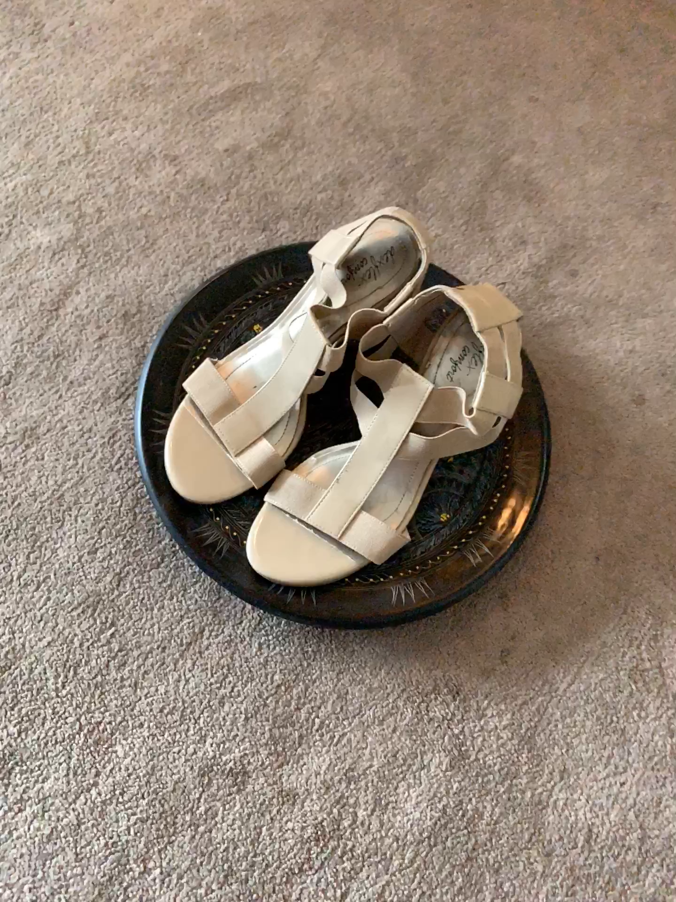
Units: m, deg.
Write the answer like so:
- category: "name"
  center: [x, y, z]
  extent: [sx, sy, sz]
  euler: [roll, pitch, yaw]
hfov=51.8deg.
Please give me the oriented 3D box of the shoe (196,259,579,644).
- category: "shoe"
  center: [0.032, 0.003, 0.440]
  extent: [0.090, 0.090, 0.220]
  euler: [44, 87, 10]

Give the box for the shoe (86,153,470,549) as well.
- category: "shoe"
  center: [-0.035, -0.060, 0.460]
  extent: [0.100, 0.090, 0.230]
  euler: [42, 87, 2]
